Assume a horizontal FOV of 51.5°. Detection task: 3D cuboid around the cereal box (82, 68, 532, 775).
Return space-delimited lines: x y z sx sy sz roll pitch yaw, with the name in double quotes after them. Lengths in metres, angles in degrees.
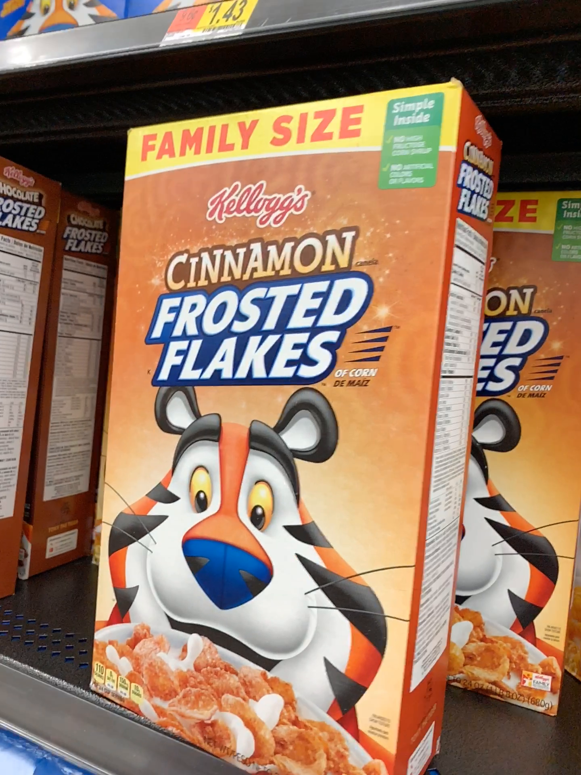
-0.003 0.027 0.335 0.210 0.340 0.070 8 4 31 "cereal box"
